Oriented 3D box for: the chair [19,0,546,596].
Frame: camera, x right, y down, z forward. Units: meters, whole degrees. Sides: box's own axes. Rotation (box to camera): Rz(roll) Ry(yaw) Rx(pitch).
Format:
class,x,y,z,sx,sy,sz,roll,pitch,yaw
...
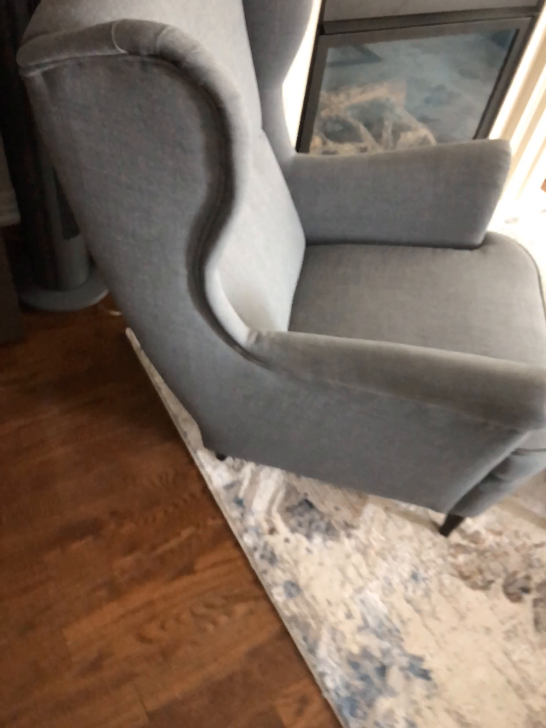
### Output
class,x,y,z,sx,sy,sz,roll,pitch,yaw
chair,0.182,-0.211,1.171,0.850,0.967,0.803,11,47,0
